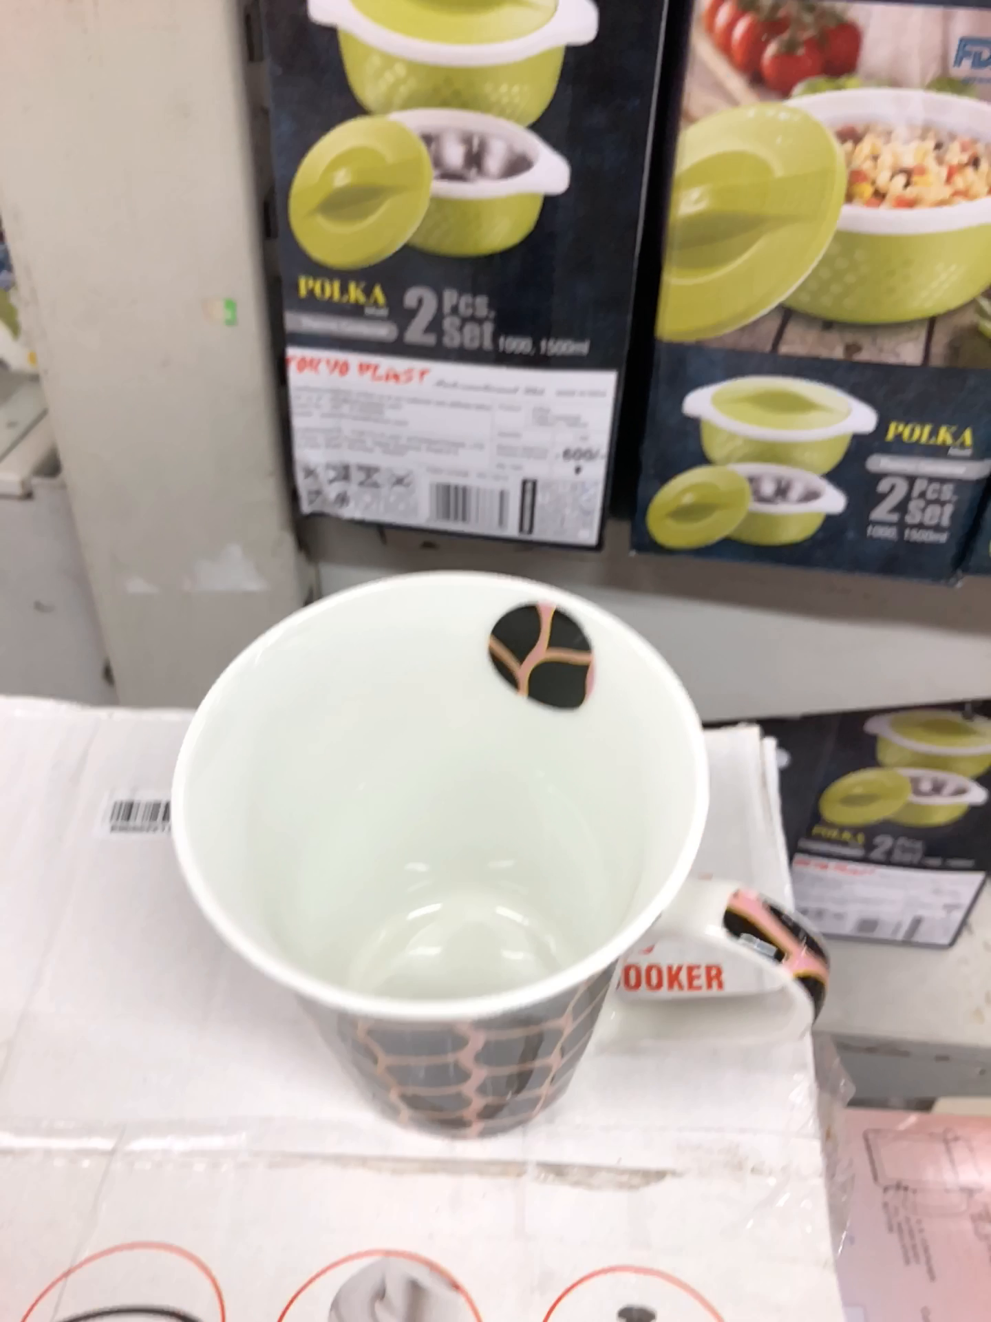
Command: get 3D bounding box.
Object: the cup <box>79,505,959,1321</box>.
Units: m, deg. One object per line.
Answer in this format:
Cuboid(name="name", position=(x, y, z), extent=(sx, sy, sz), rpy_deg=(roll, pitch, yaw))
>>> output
Cuboid(name="cup", position=(0.010, 0.042, 0.198), extent=(0.110, 0.080, 0.091), rpy_deg=(15, 47, 15))
